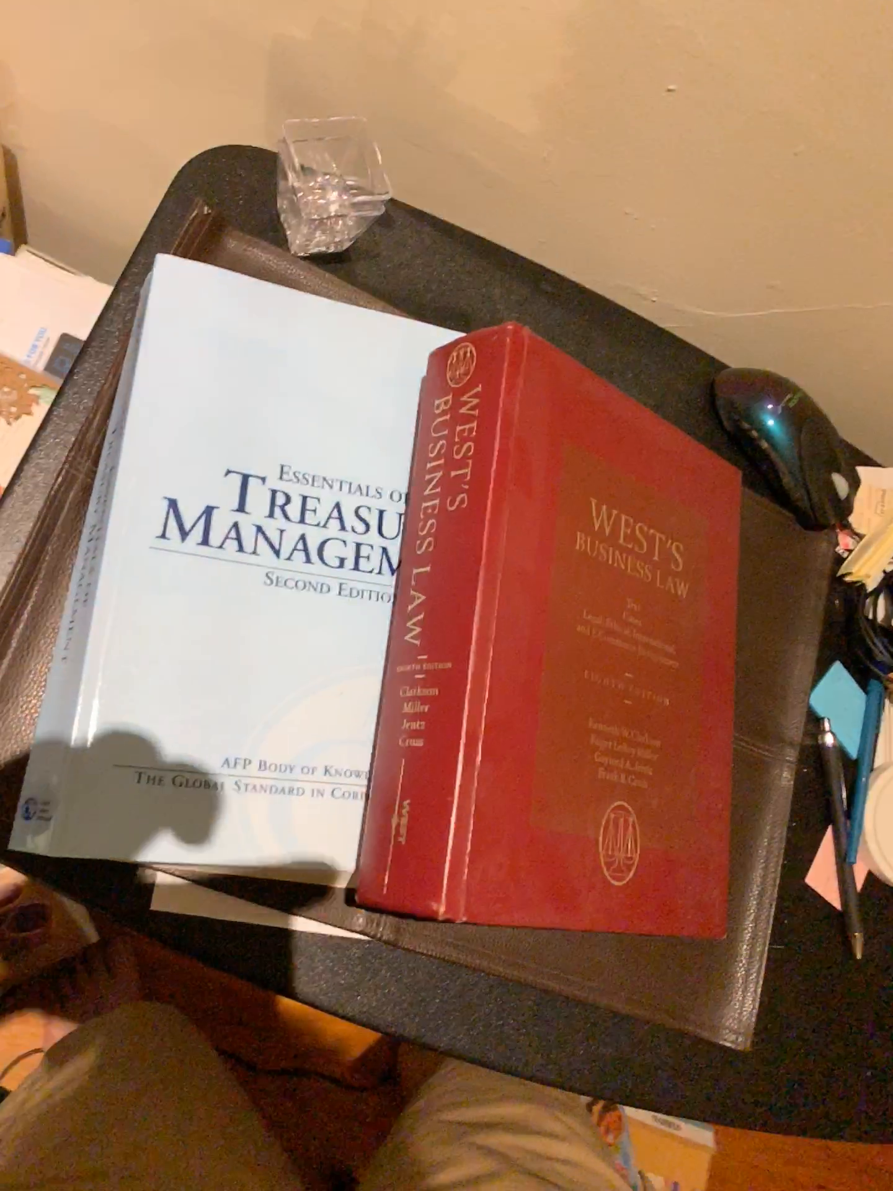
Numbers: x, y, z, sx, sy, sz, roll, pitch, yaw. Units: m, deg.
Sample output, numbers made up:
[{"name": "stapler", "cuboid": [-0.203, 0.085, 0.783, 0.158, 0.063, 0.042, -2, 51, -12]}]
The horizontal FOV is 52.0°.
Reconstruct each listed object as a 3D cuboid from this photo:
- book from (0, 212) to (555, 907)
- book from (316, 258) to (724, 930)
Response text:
[{"name": "book", "cuboid": [-0.075, -0.009, 0.430, 0.220, 0.070, 0.270, 12, 74, -18]}, {"name": "book", "cuboid": [0.055, 0.014, 0.445, 0.210, 0.050, 0.270, 20, 69, -41]}]
